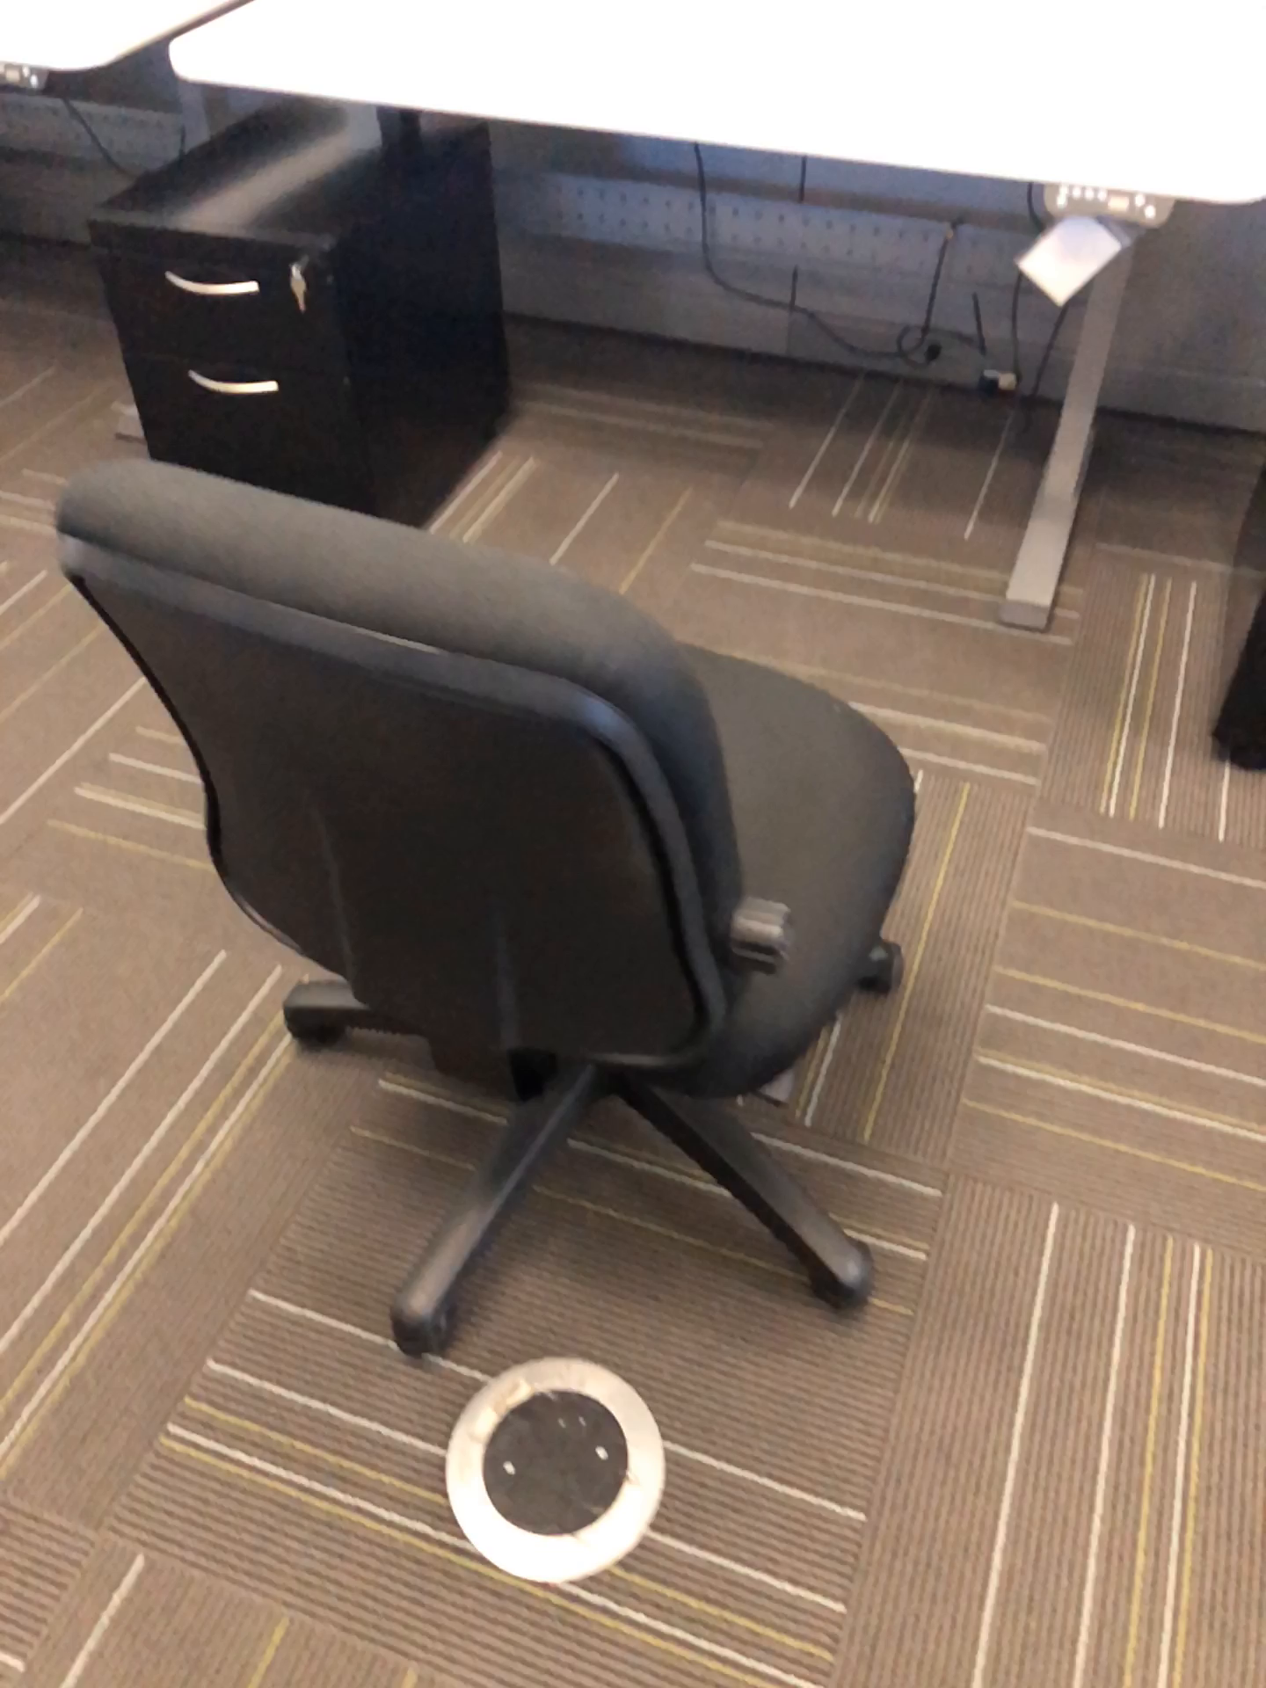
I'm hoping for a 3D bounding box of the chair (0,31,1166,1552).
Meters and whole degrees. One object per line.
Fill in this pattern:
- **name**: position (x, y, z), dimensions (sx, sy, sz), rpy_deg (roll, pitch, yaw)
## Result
- **chair**: position (-0.090, -0.081, 1.184), dimensions (0.771, 0.846, 0.763), rpy_deg (14, 45, 15)
